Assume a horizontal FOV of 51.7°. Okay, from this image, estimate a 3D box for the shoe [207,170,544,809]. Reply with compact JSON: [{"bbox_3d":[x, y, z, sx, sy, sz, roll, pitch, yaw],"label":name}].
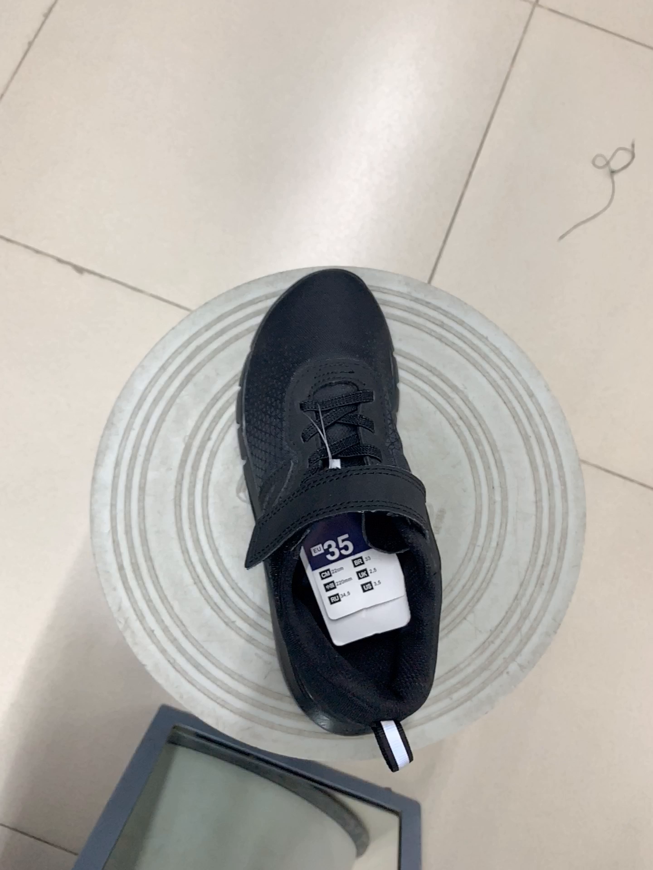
[{"bbox_3d":[0.013,0.017,0.314,0.100,0.080,0.250,-7,80,-5],"label":"shoe"}]
